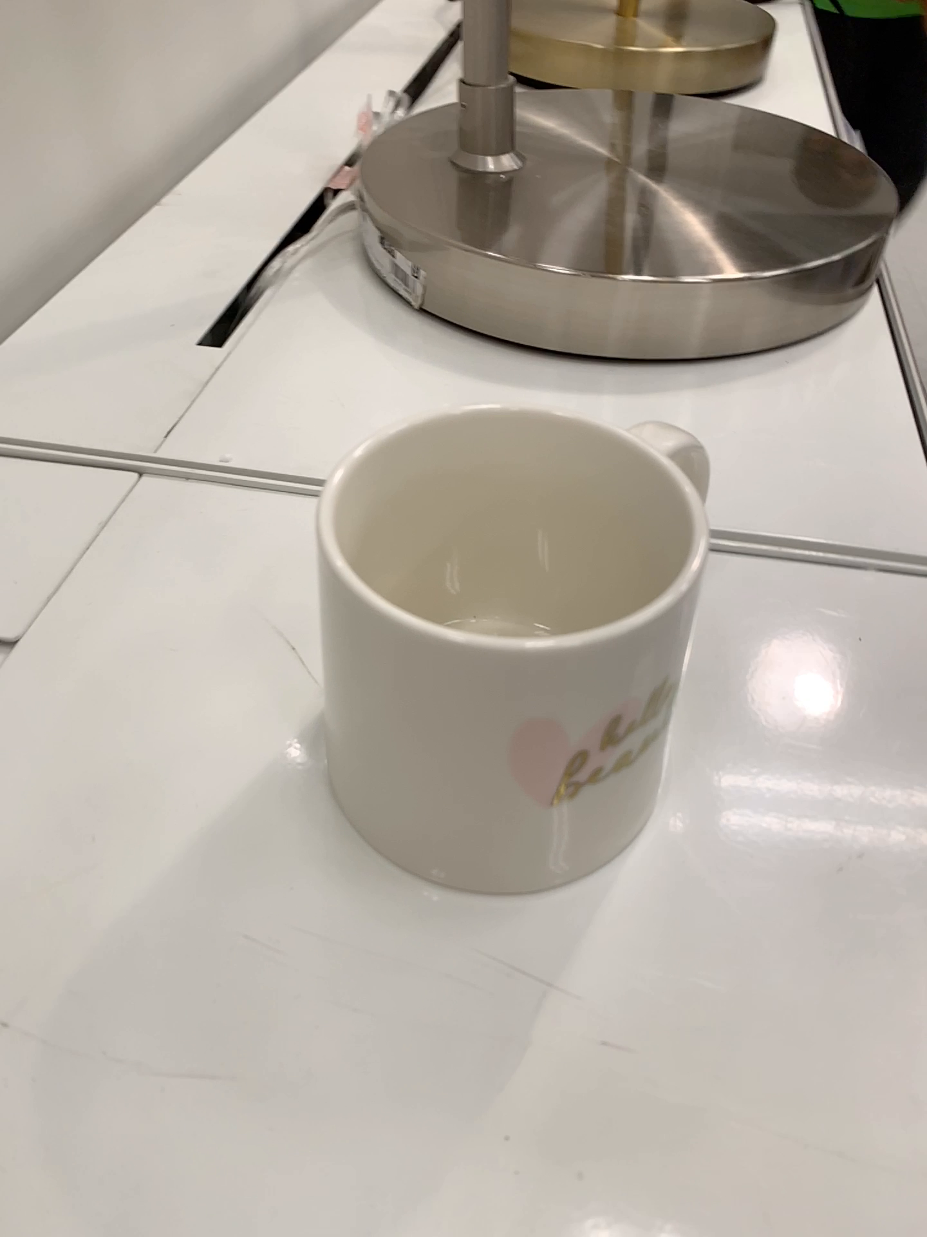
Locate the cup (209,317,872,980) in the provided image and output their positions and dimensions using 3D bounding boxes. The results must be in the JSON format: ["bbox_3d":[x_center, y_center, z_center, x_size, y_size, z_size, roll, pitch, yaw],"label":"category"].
[{"bbox_3d":[0.023,0.000,0.279,0.105,0.097,0.140,35,56,28],"label":"cup"}]
